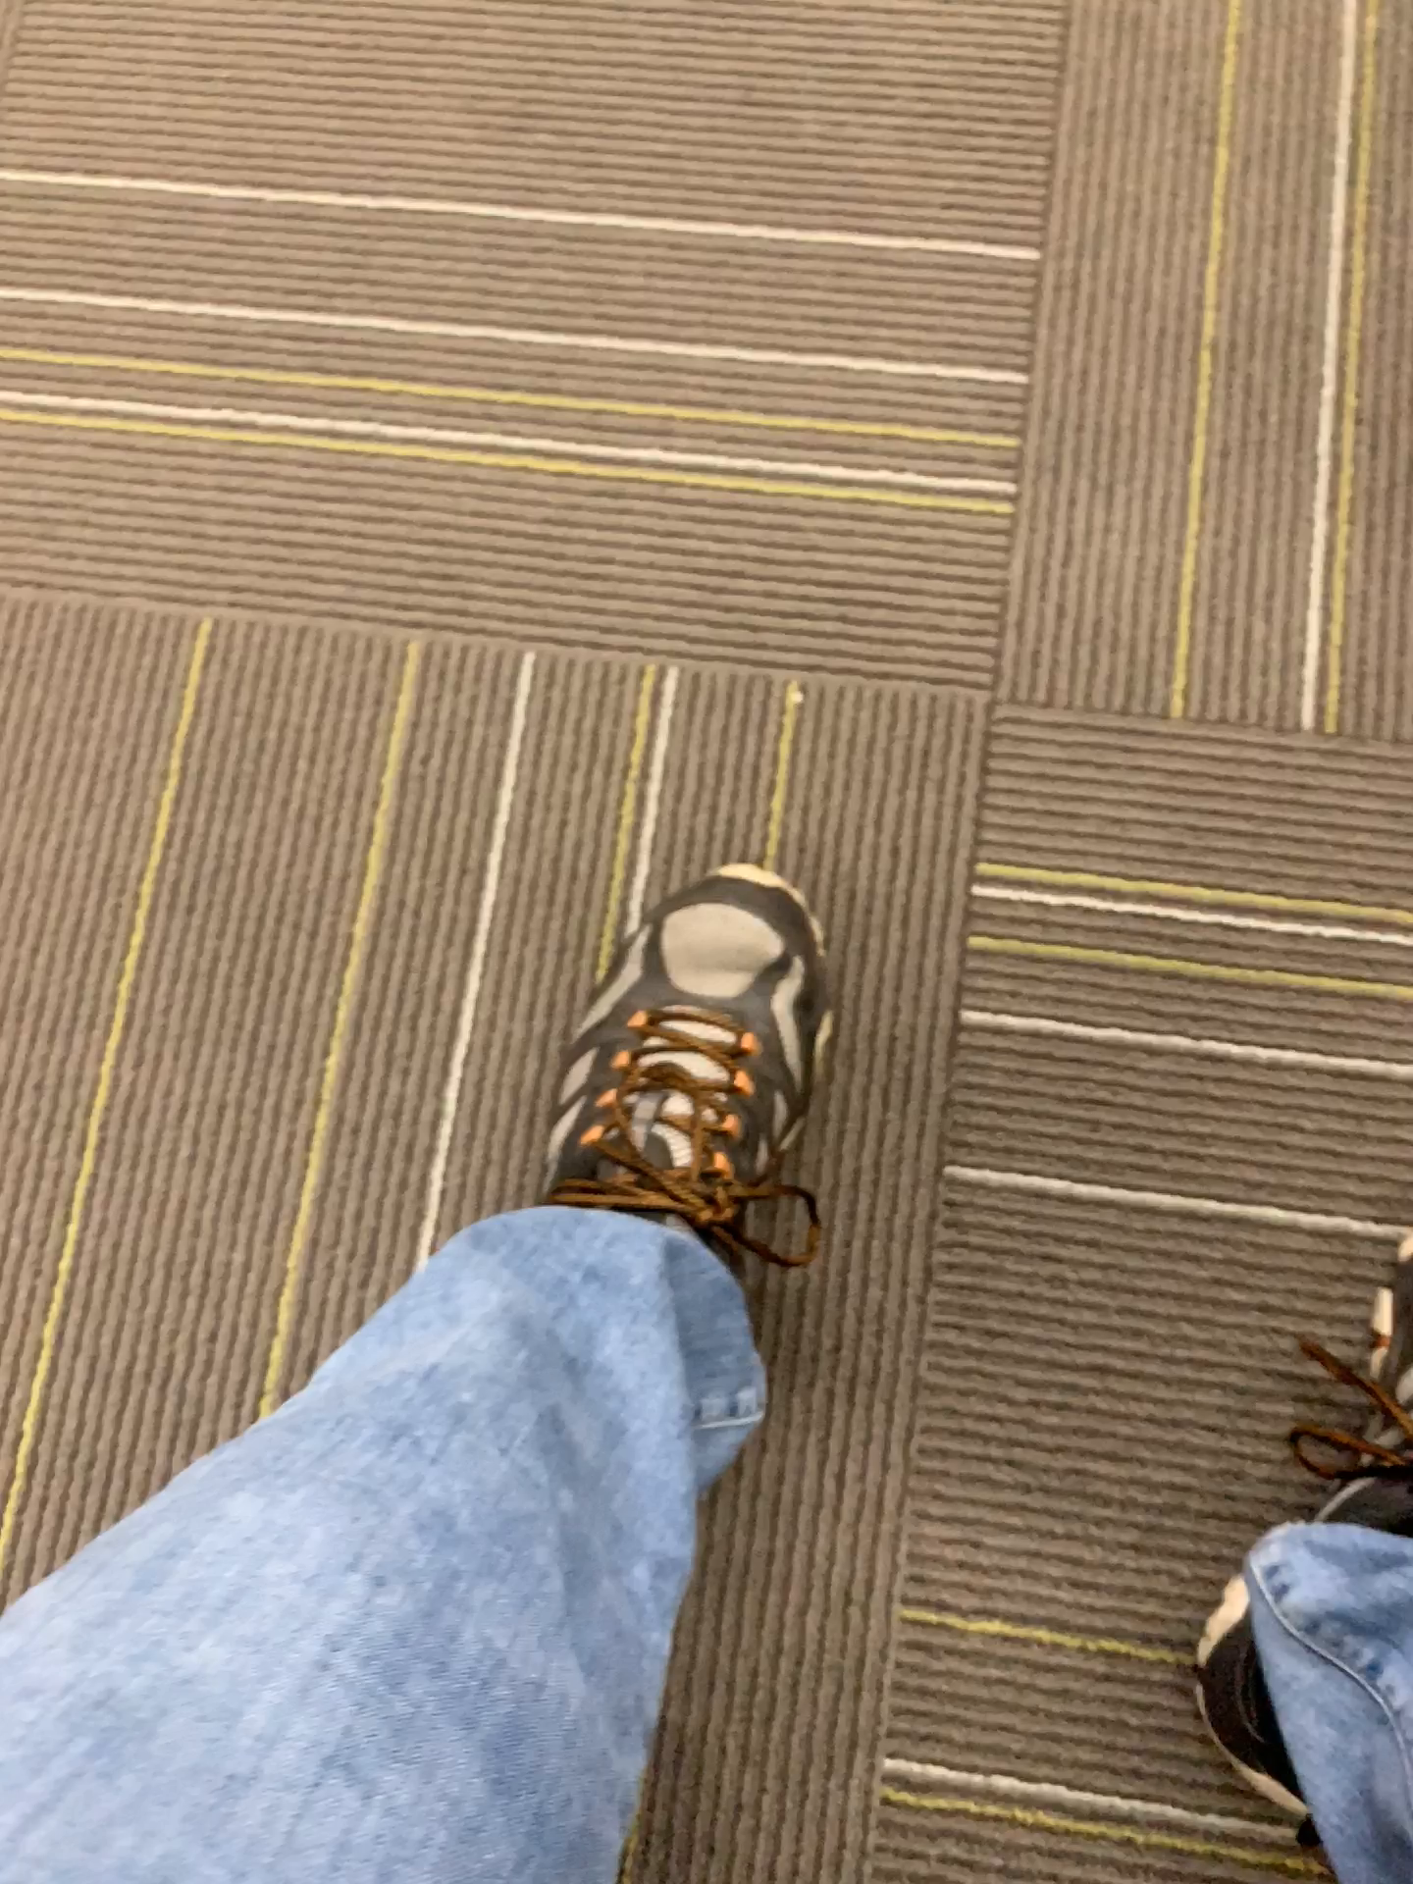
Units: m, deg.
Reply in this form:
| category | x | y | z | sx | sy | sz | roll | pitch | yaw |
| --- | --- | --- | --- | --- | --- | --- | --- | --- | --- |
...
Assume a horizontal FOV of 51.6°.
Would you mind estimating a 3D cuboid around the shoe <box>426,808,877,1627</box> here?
| category | x | y | z | sx | sy | sz | roll | pitch | yaw |
| --- | --- | --- | --- | --- | --- | --- | --- | --- | --- |
| shoe | -0.017 | 0.117 | 0.668 | 0.125 | 0.095 | 0.323 | 11 | 80 | 6 |

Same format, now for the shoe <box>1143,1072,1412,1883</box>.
| category | x | y | z | sx | sy | sz | roll | pitch | yaw |
| --- | --- | --- | --- | --- | --- | --- | --- | --- | --- |
| shoe | 0.332 | 0.229 | 0.624 | 0.122 | 0.095 | 0.322 | 32 | 83 | 9 |
